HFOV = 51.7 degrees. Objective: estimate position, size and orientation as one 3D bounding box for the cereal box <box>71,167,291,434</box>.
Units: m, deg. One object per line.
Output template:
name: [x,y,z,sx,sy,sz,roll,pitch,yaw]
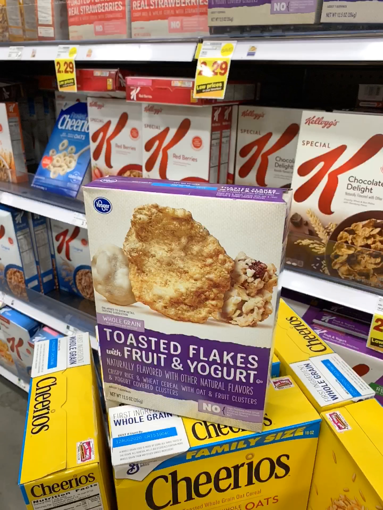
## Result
cereal box: [-0.011,0.052,0.432,0.200,0.269,0.060,7,26,13]
